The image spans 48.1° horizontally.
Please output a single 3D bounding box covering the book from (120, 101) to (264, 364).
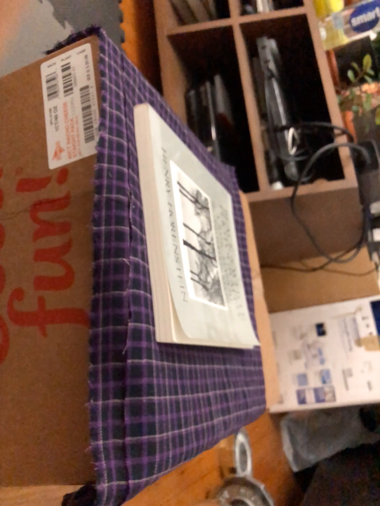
[{"bbox_3d":[0.015,0.004,0.443,0.251,0.030,0.210,29,51,-63],"label":"book"}]
